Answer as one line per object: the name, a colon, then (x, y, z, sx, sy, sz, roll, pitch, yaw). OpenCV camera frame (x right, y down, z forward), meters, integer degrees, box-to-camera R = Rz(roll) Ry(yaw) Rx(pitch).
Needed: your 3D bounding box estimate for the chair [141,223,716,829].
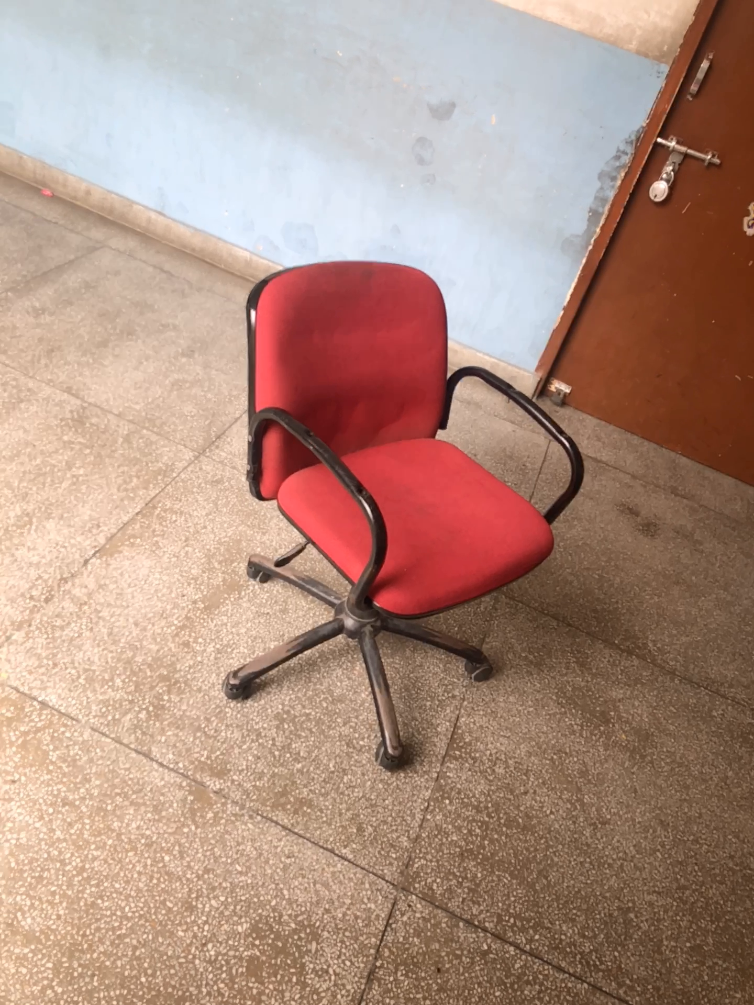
chair: (0.038, 0.000, 1.588, 0.652, 0.797, 0.641, -21, 52, -40)
